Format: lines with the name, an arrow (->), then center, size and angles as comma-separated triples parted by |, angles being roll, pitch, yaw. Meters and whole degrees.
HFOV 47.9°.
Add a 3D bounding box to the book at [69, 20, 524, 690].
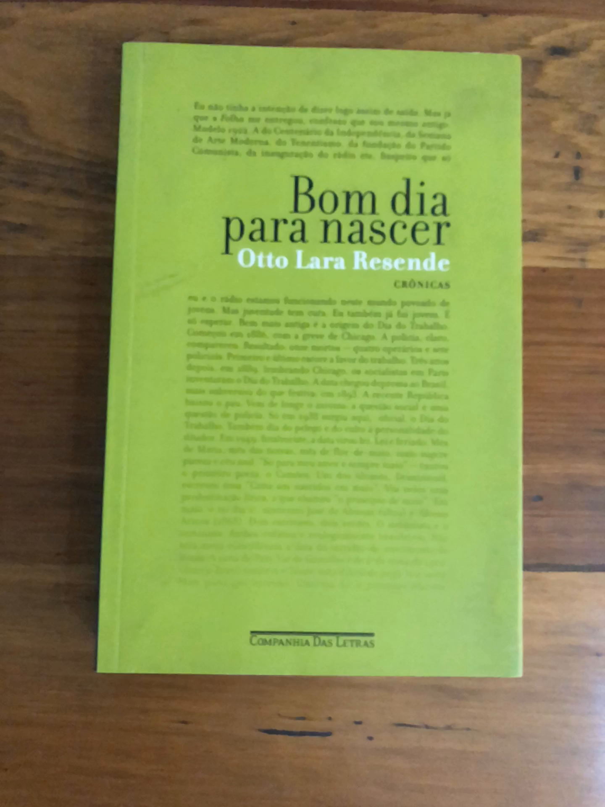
book -> 0.001, -0.018, 0.228 | 0.136, 0.030, 0.208 | 1, 85, -1
